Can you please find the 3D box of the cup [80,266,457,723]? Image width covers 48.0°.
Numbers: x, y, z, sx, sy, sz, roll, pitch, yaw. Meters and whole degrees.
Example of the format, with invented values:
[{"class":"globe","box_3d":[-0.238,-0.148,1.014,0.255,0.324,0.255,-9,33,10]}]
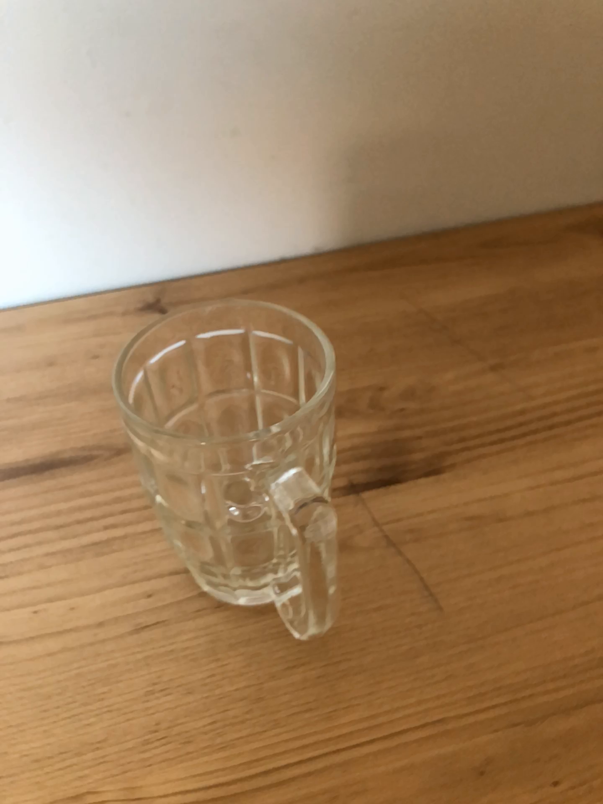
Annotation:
[{"class":"cup","box_3d":[-0.015,0.030,0.269,0.088,0.102,0.120,-22,45,-17]}]
